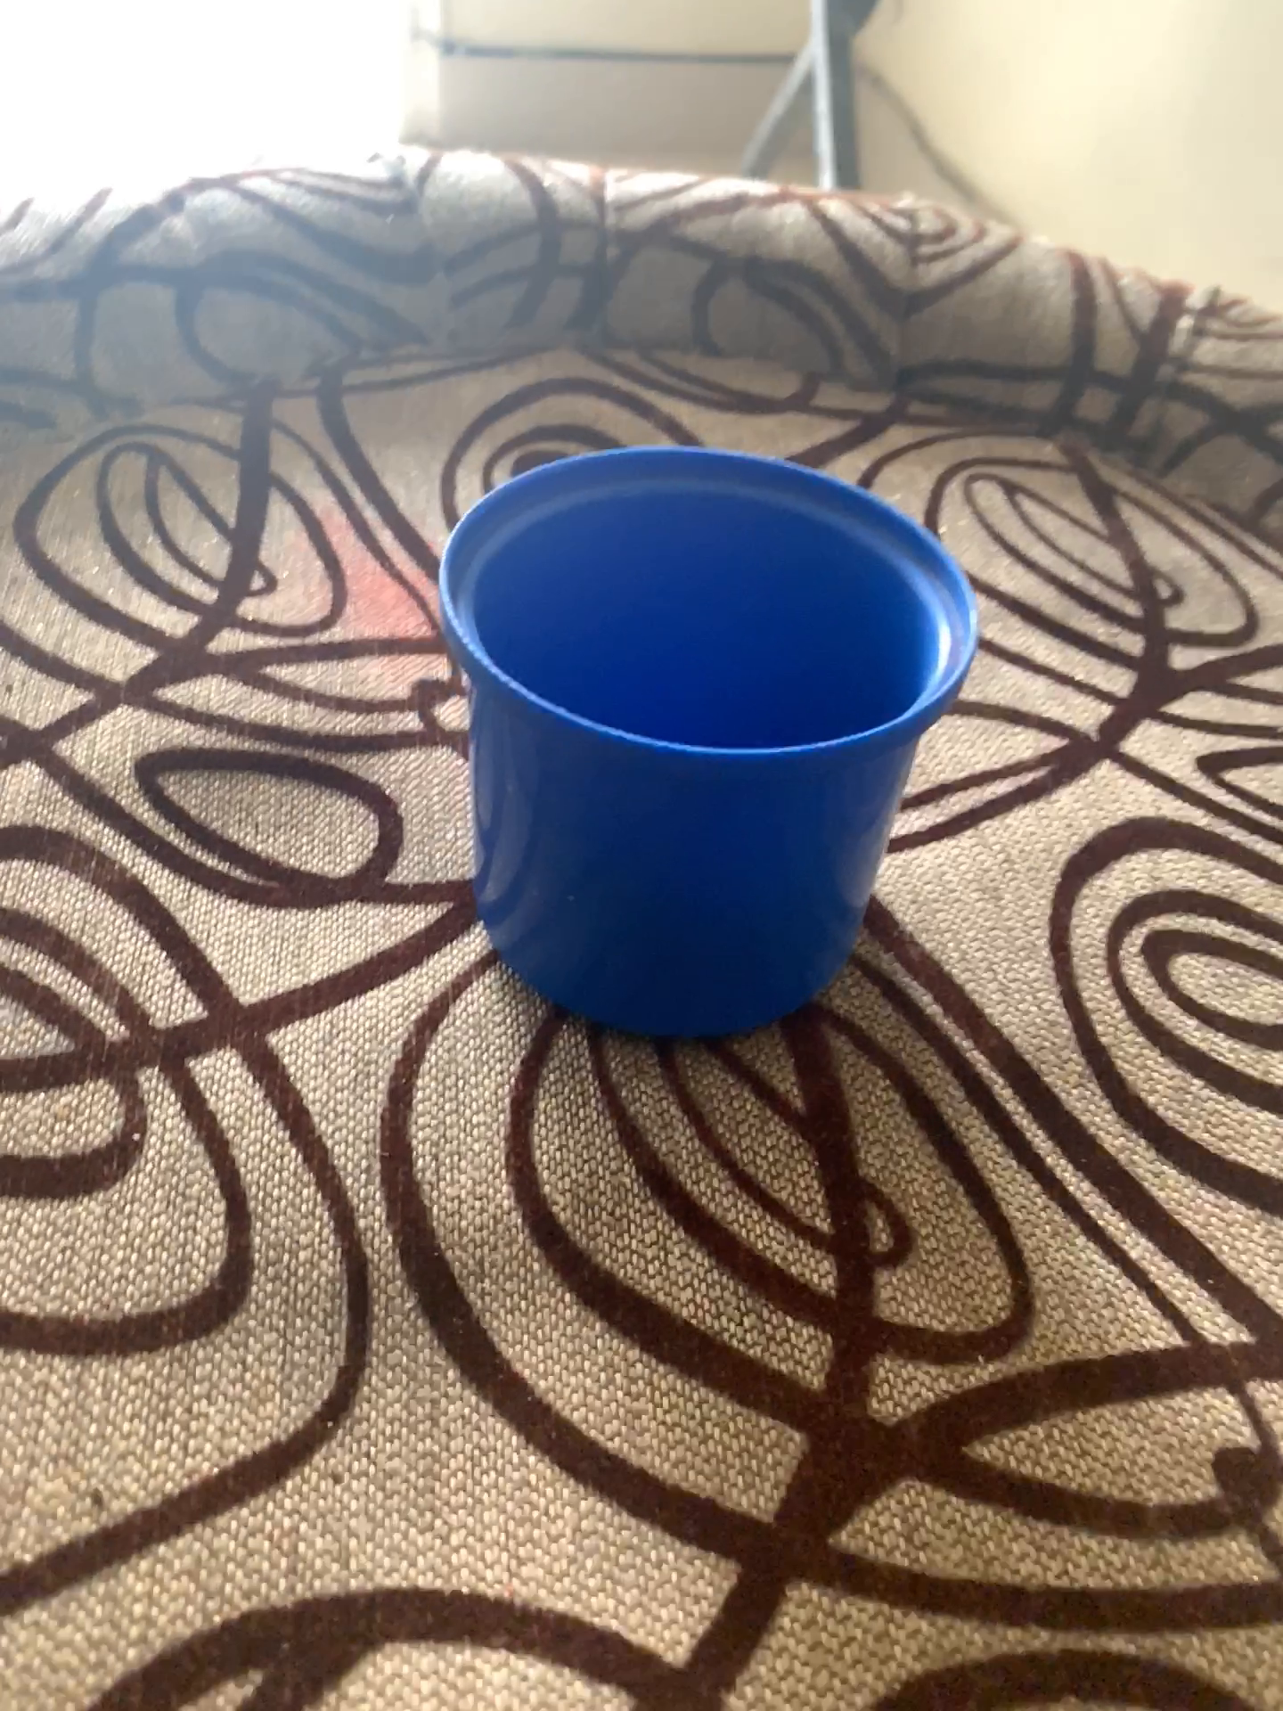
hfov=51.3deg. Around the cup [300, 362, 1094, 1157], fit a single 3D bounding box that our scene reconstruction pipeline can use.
[{"bbox_3d":[0.006,-0.020,0.214,0.080,0.069,0.080,3,45,-3],"label":"cup"}]
